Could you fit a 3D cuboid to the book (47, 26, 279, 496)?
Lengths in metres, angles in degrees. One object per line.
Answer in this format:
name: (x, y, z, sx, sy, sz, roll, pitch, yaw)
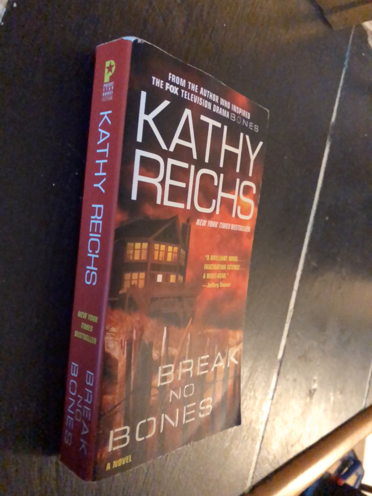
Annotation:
book: (-0.004, 0.008, 0.215, 0.108, 0.030, 0.189, 5, 93, -48)
